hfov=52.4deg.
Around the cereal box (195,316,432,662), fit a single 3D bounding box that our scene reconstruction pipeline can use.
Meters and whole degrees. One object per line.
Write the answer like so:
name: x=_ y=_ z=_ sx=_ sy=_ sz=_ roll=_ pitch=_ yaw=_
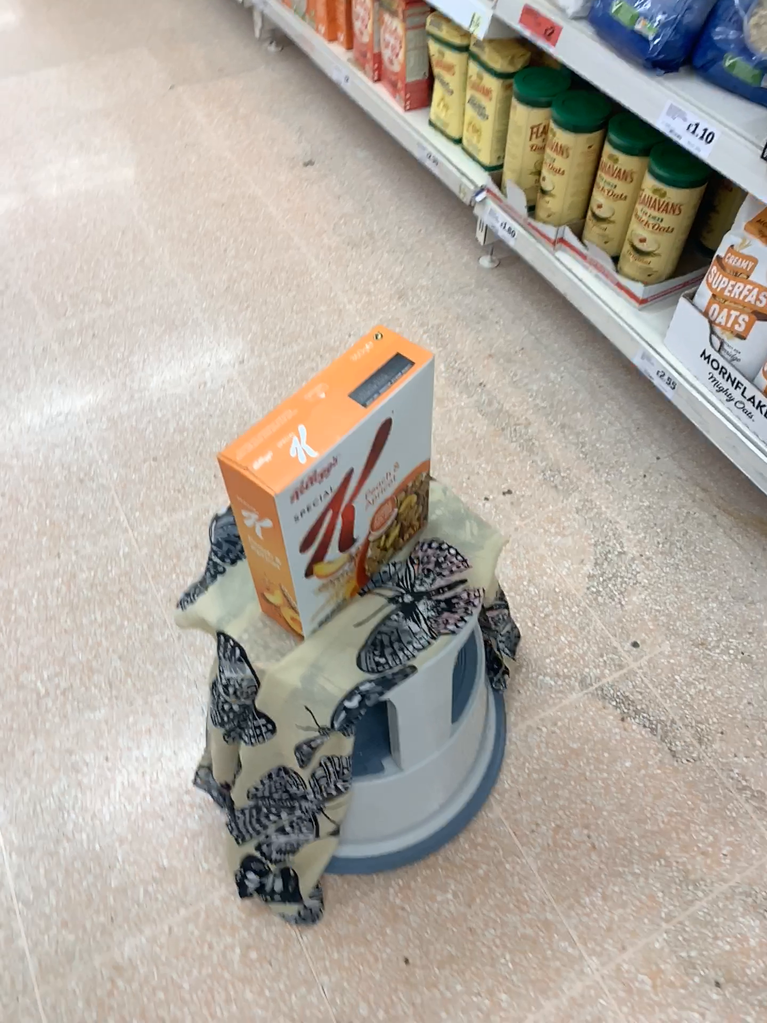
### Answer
cereal box: x=-0.051 y=-0.010 z=0.726 sx=0.060 sy=0.268 sz=0.211 roll=34 pitch=60 yaw=22
